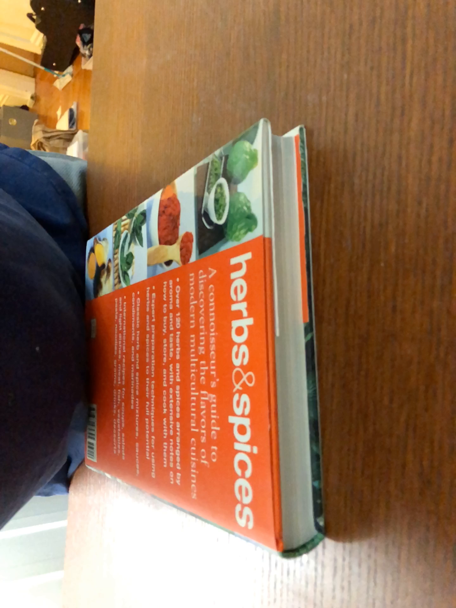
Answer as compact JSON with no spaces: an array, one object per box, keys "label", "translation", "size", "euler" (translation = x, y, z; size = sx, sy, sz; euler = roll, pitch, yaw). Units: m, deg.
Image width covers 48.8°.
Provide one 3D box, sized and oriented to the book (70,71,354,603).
[{"label":"book","translation":[-0.040,0.021,0.322],"size":[0.271,0.040,0.210],"euler":[-10,78,56]}]
